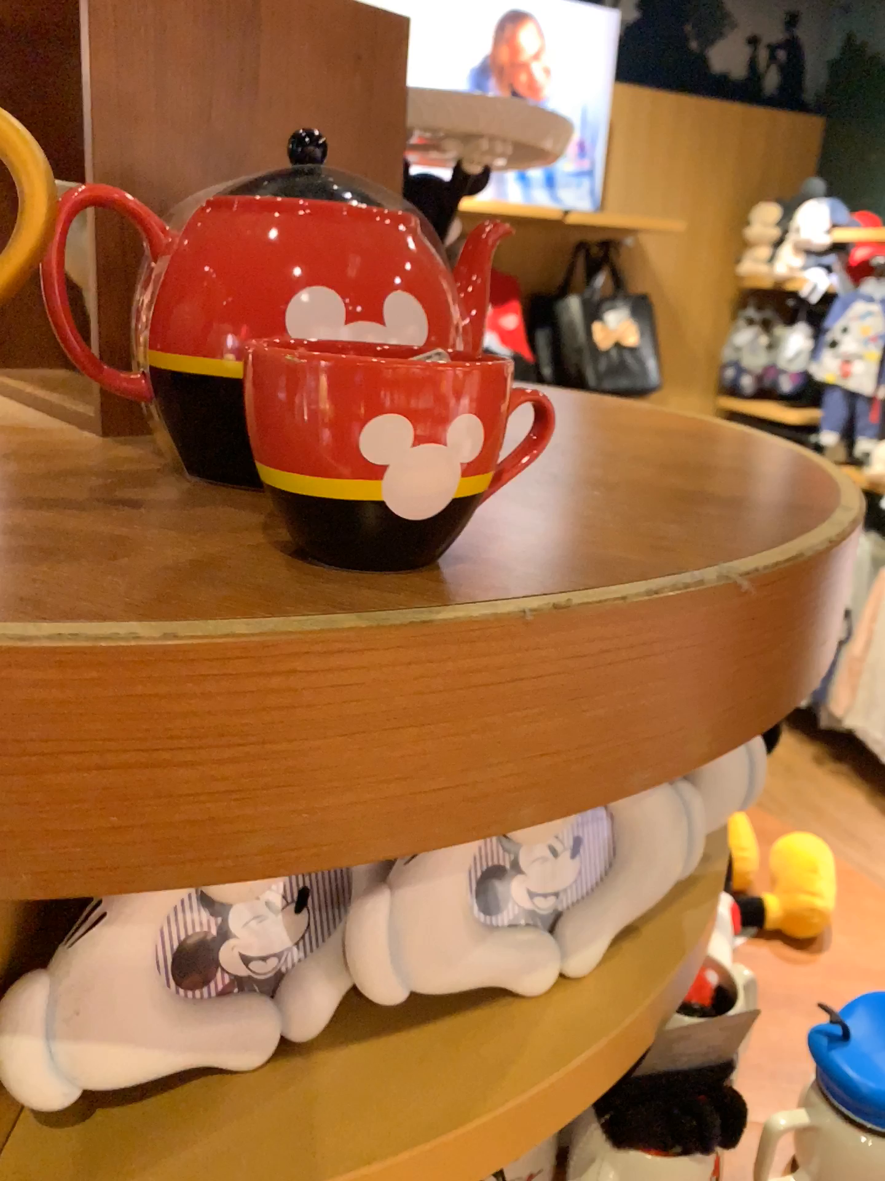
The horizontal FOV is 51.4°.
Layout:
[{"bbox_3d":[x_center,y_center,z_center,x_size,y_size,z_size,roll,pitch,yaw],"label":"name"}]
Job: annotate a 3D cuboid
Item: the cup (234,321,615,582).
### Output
[{"bbox_3d":[-0.011,-0.048,0.298,0.100,0.066,0.078,-3,19,-20],"label":"cup"}]
